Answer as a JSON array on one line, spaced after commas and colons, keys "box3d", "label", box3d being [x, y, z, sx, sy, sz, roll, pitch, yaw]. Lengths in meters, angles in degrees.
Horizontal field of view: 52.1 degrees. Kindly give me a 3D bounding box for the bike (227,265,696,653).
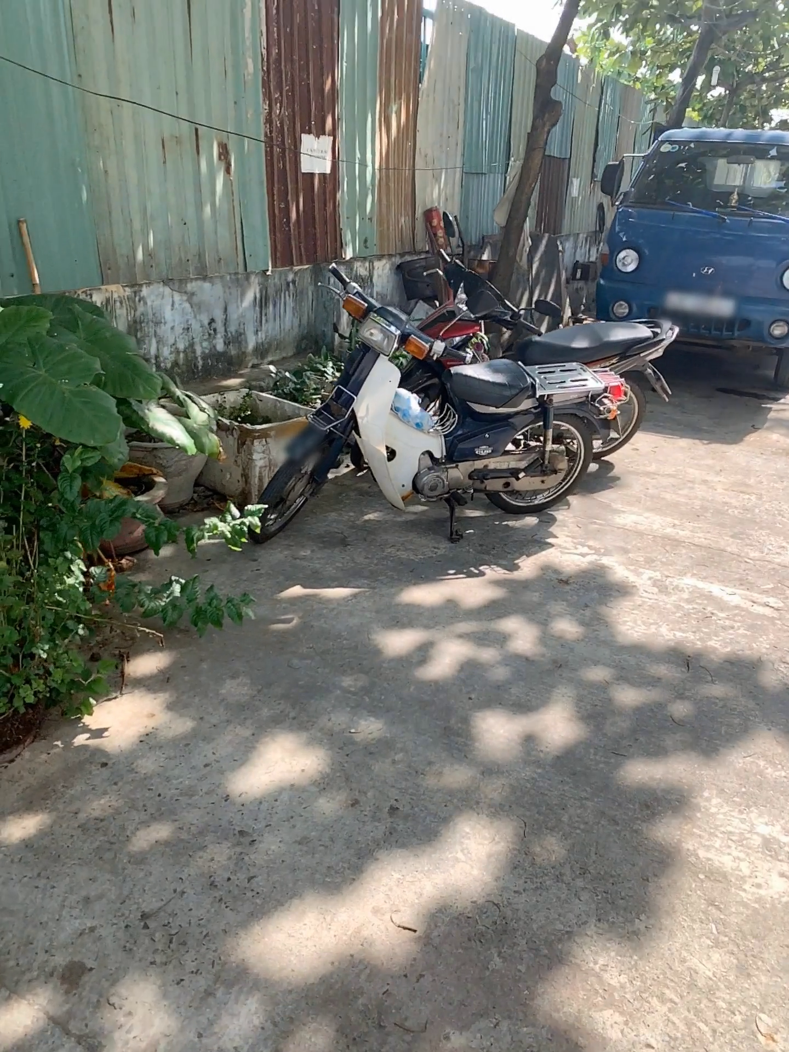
[{"box3d": [0.221, -0.335, 2.962, 1.477, 1.024, 0.655, -12, 27, -26], "label": "bike"}]
